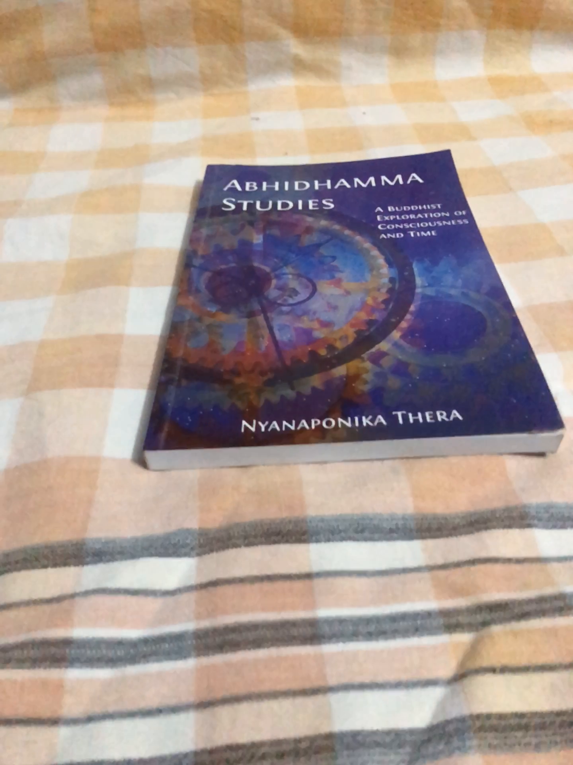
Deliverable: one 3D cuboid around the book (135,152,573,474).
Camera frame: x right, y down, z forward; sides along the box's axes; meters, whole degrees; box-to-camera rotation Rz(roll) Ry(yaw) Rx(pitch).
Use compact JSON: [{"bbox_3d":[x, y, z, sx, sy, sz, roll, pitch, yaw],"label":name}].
[{"bbox_3d":[0.025,-0.049,0.293,0.150,0.020,0.211,-1,44,1],"label":"book"}]
